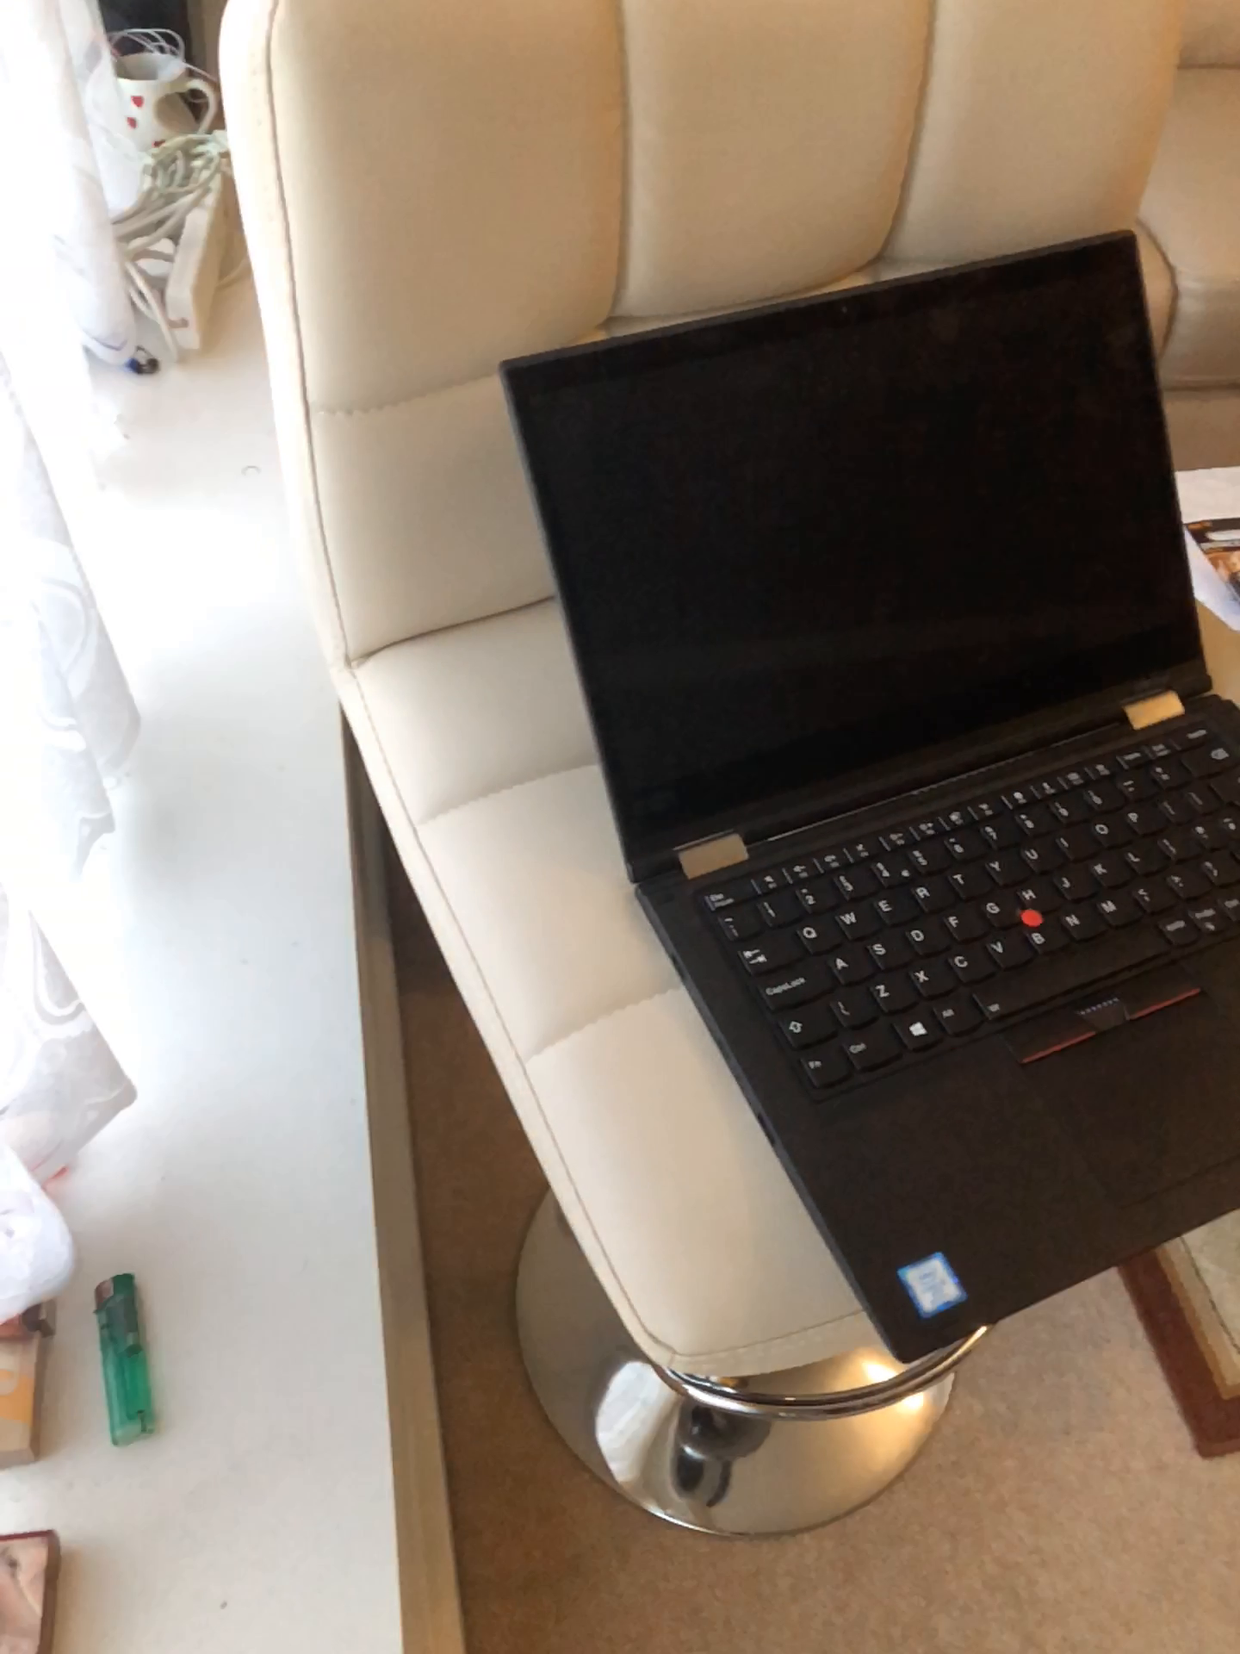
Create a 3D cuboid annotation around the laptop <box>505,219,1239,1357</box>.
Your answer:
[{"bbox_3d":[0.165,-0.051,0.546,0.309,0.165,0.368,-18,54,-16],"label":"laptop"}]
